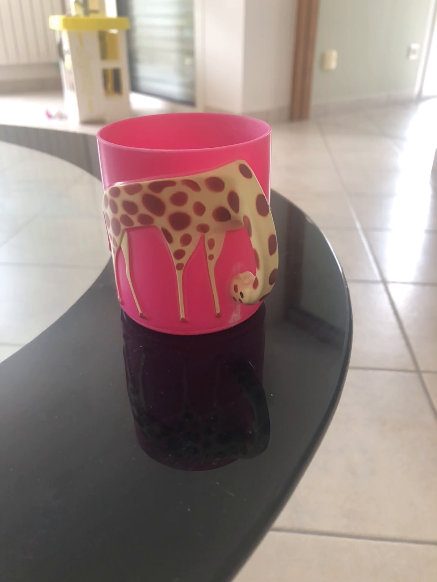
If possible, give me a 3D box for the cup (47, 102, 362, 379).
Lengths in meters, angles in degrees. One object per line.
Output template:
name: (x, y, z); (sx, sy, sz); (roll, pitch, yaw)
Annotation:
cup: (-0.007, -0.029, 0.193); (0.090, 0.070, 0.070); (25, 37, 37)
